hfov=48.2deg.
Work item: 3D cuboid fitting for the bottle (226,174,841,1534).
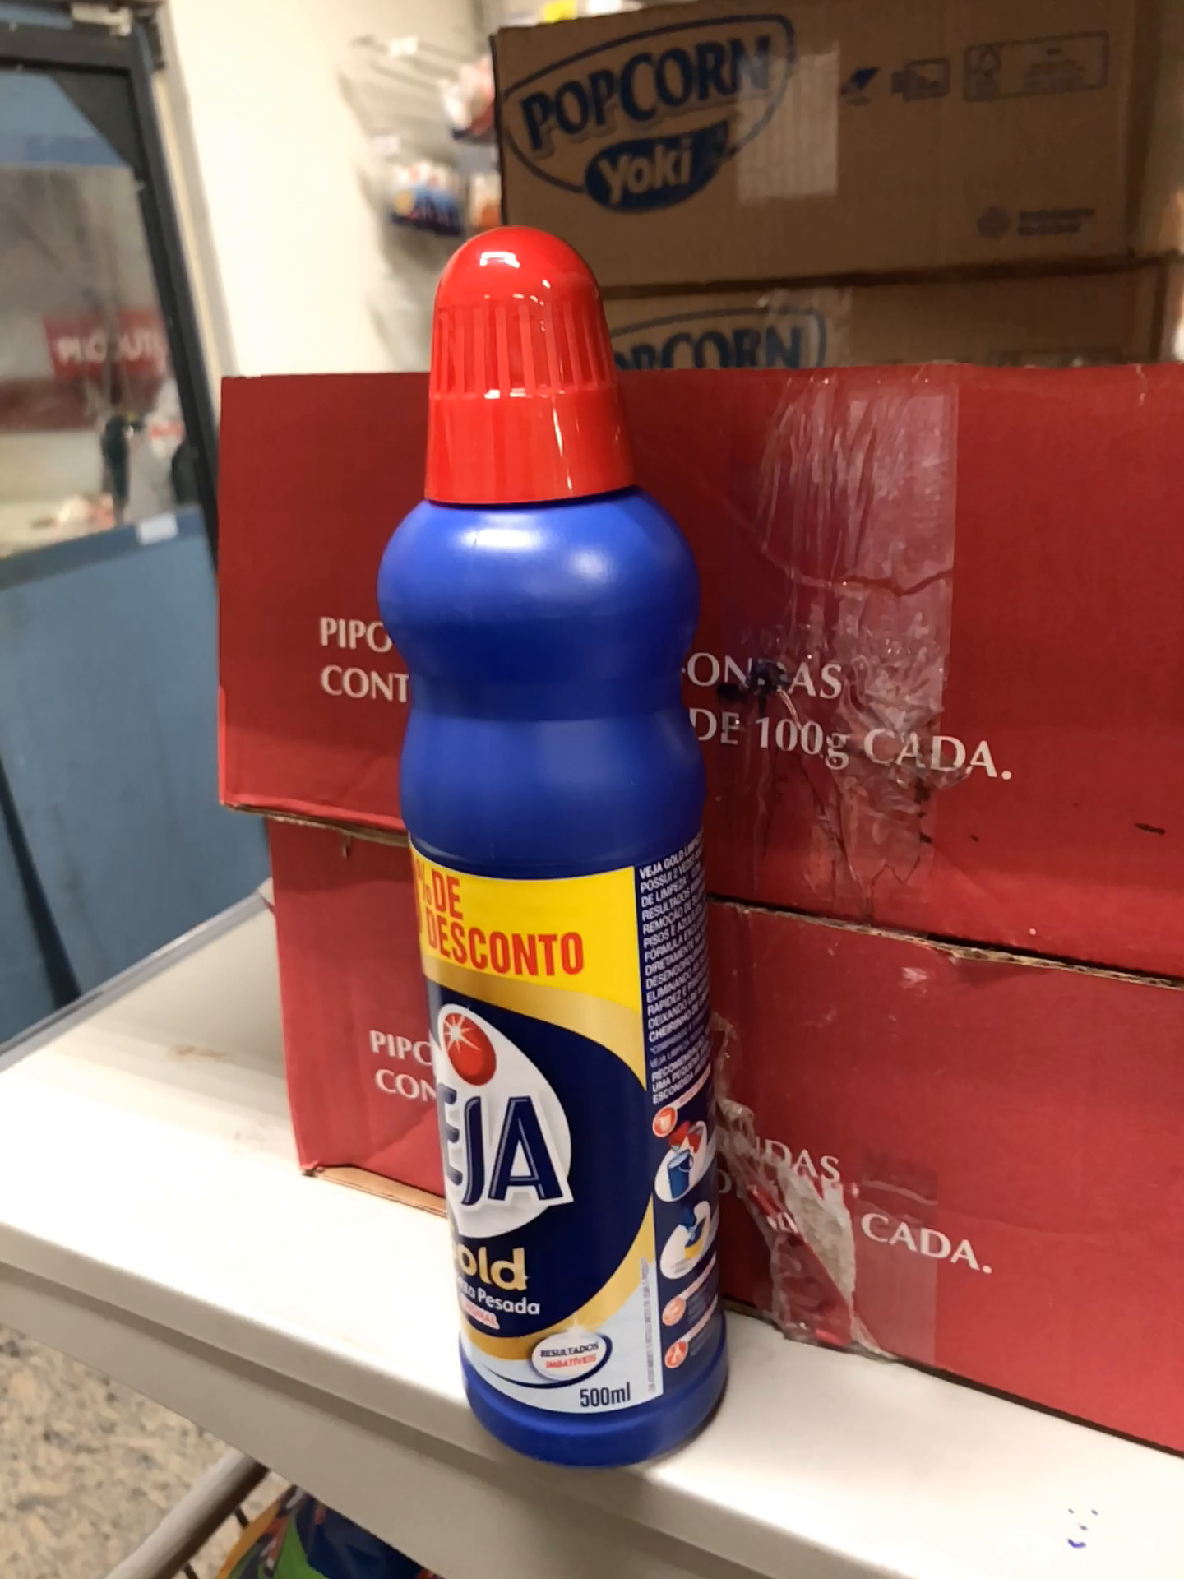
[{"bbox_3d":[-0.004,0.015,0.272,0.070,0.248,0.070,-5,18,2],"label":"bottle"}]
